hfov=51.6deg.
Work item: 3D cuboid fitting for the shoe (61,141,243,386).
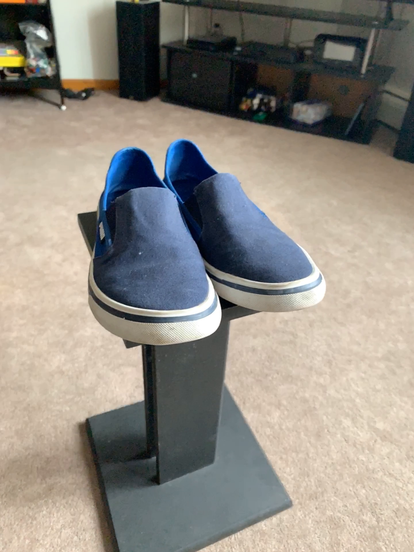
[{"bbox_3d":[-0.067,-0.043,0.425,0.120,0.079,0.302,-5,36,-12],"label":"shoe"}]

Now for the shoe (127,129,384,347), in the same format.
[{"bbox_3d":[0.023,-0.069,0.463,0.120,0.079,0.302,-14,40,-24],"label":"shoe"}]
